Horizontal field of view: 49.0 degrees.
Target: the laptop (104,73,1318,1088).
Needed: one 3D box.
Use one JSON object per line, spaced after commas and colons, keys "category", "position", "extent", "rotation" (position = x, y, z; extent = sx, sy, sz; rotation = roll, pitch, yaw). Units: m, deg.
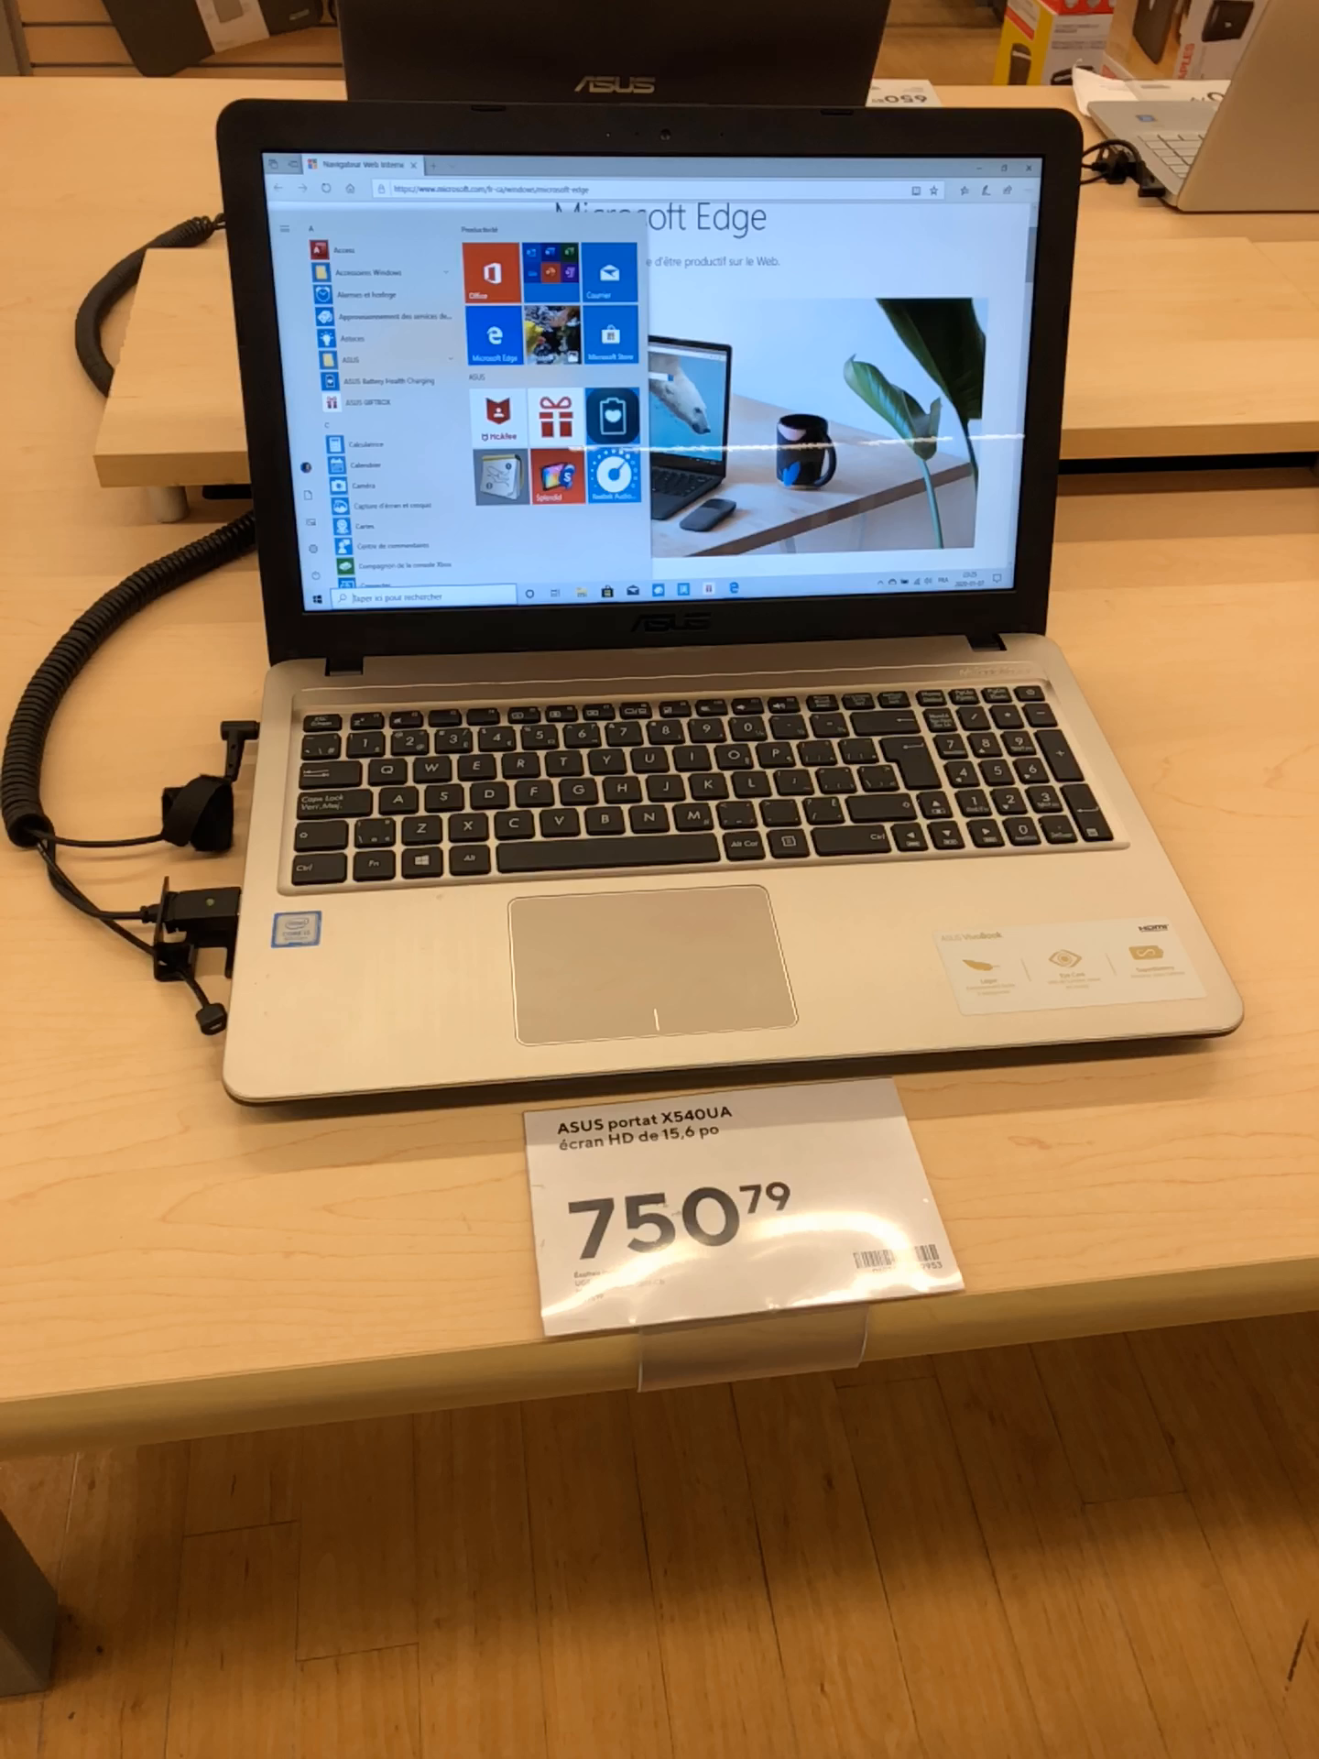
{"category": "laptop", "position": [0.014, -0.143, 0.600], "extent": [0.383, 0.215, 0.361], "rotation": [-3, 48, -8]}
